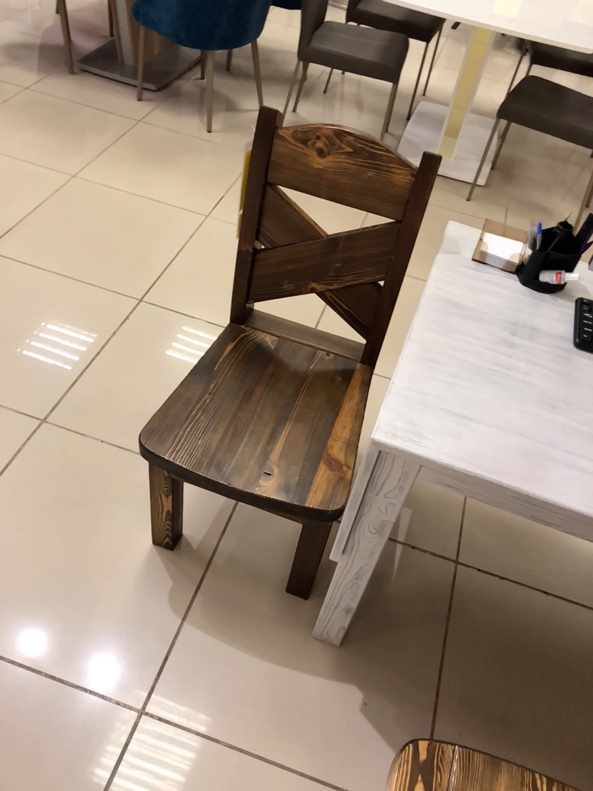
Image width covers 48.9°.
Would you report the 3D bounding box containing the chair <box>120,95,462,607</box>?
[{"bbox_3d":[-0.026,-0.060,1.456,0.450,0.895,0.573,18,46,6],"label":"chair"}]
